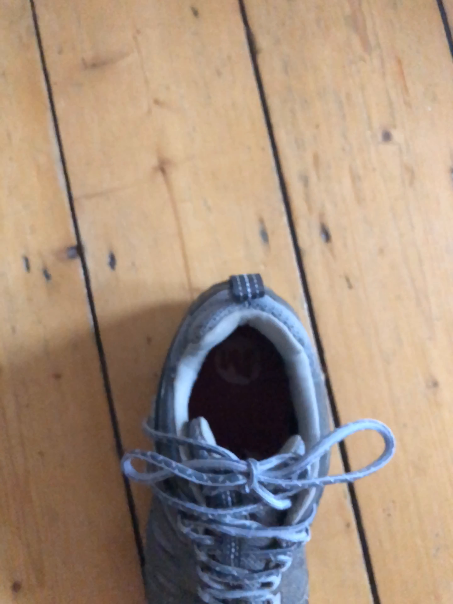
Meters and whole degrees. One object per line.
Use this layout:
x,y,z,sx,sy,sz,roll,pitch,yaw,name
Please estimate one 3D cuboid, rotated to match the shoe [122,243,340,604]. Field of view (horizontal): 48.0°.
0.003,0.115,0.299,0.100,0.110,0.280,1,86,-1,shoe
